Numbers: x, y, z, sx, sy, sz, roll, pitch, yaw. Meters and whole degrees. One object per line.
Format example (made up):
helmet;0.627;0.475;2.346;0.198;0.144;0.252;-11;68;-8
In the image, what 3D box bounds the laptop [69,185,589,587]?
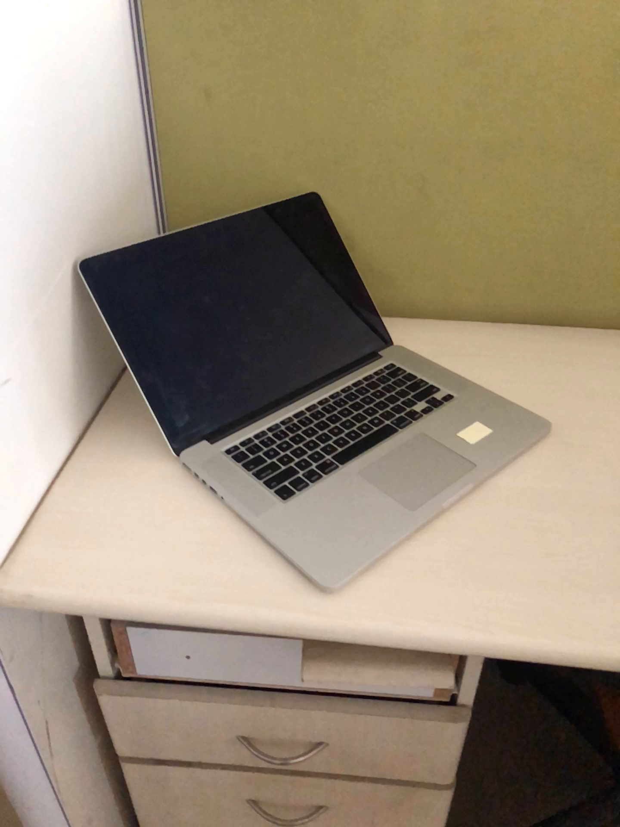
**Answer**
laptop;0.011;-0.078;0.739;0.346;0.163;0.404;-28;46;-34
